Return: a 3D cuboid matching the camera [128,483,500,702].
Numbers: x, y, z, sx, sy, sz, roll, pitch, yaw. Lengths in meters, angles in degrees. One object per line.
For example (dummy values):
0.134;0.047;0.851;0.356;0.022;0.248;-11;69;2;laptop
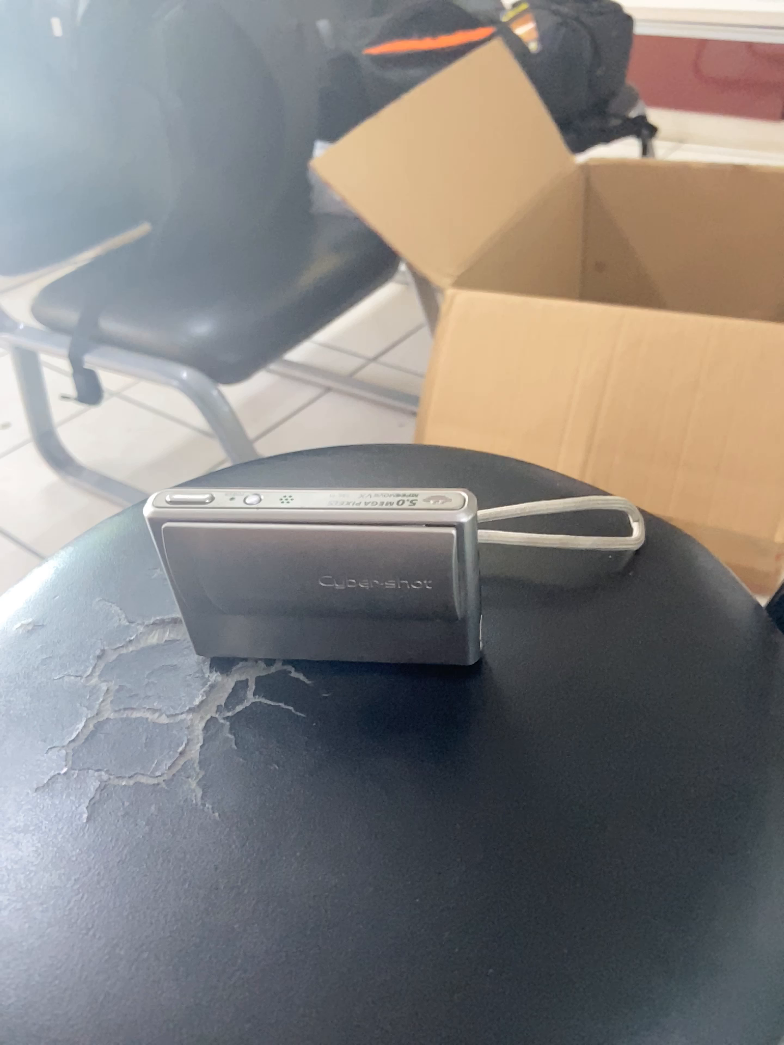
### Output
-0.018;0.022;0.245;0.100;0.060;0.030;0;40;8;camera
